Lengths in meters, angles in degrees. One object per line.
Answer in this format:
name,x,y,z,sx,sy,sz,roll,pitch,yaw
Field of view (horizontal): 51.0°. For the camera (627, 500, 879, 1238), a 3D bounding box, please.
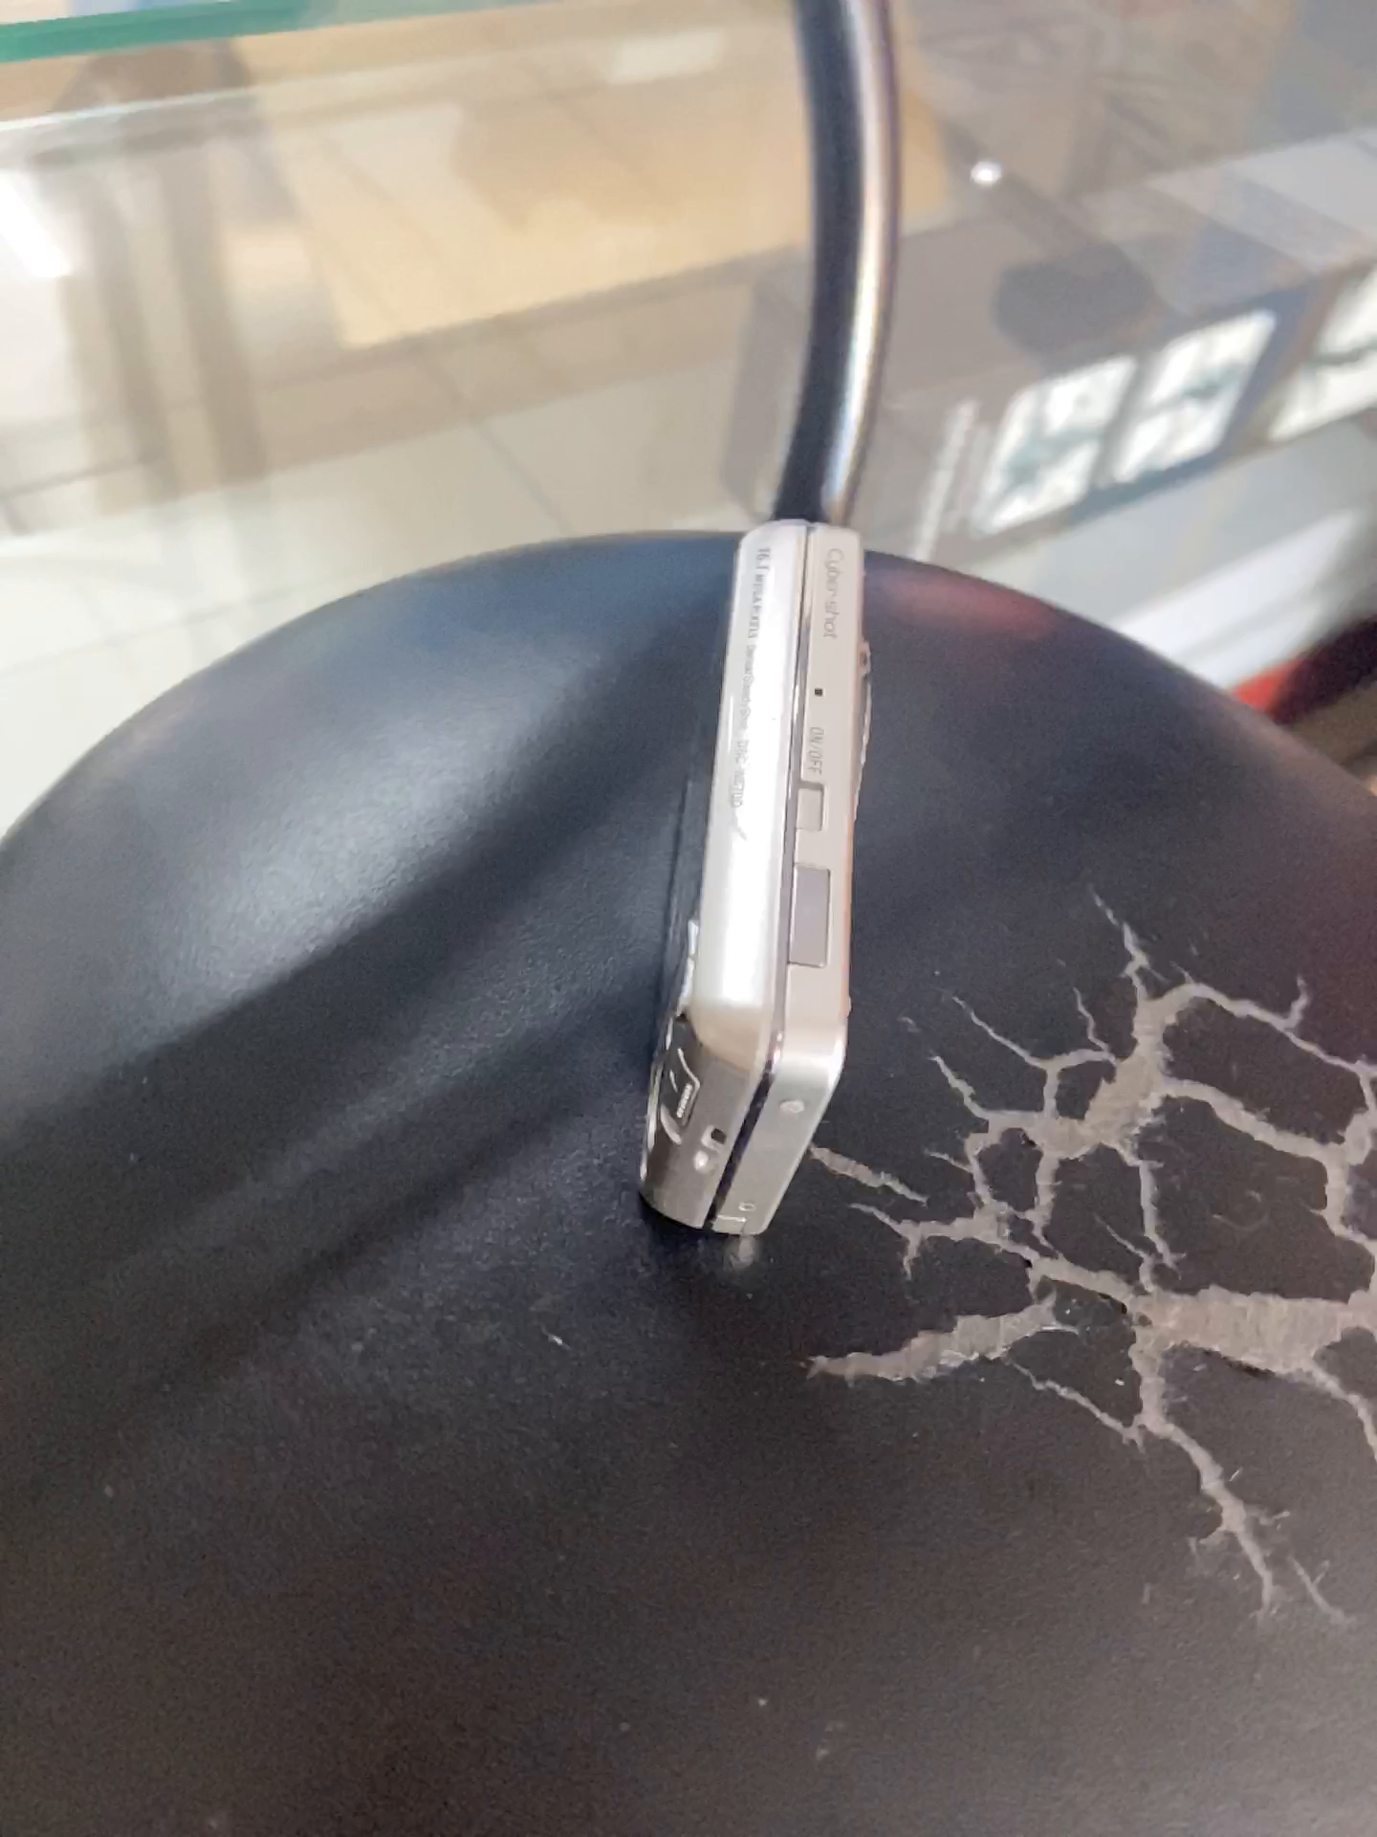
camera,0.009,-0.009,0.197,0.022,0.042,0.093,9,52,-5
